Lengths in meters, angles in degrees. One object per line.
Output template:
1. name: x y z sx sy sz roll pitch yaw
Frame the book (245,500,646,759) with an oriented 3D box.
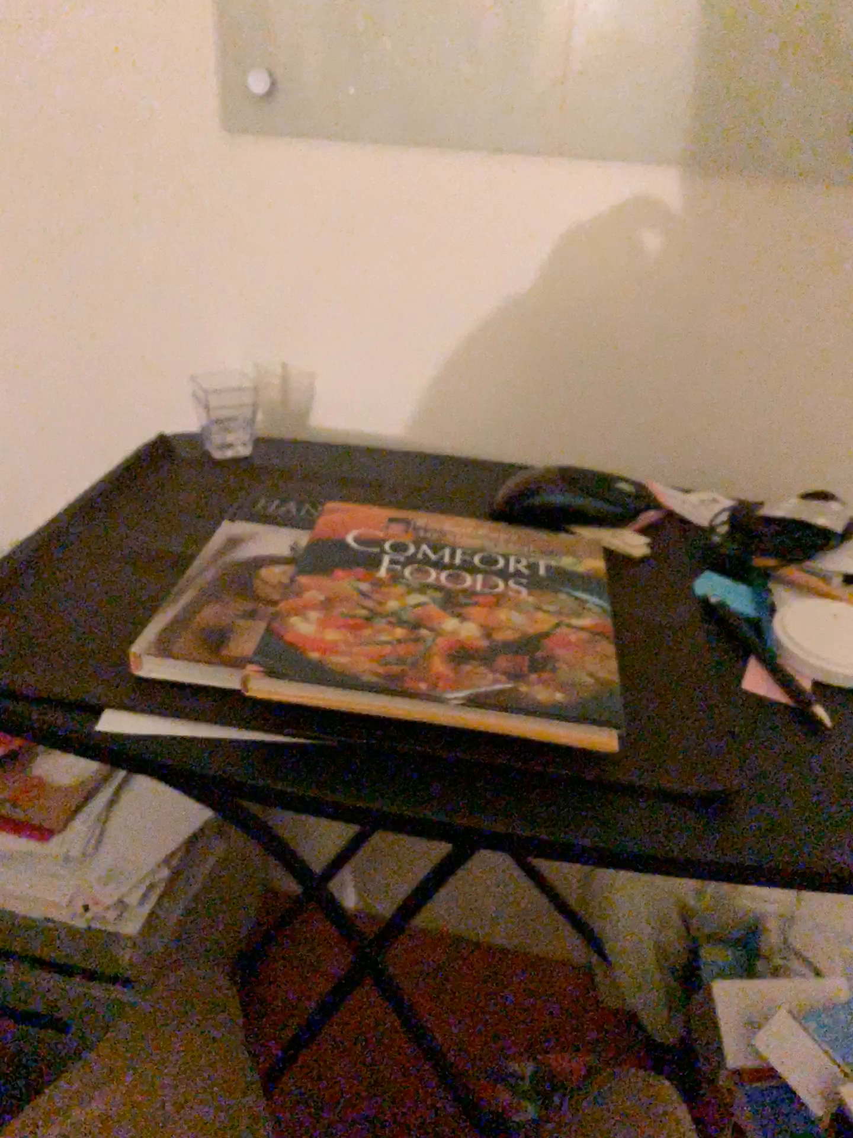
1. book: 0.019 0.023 0.537 0.200 0.020 0.211 7 30 3

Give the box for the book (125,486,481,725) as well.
1. book: -0.062 0.011 0.578 0.180 0.020 0.221 7 30 4
